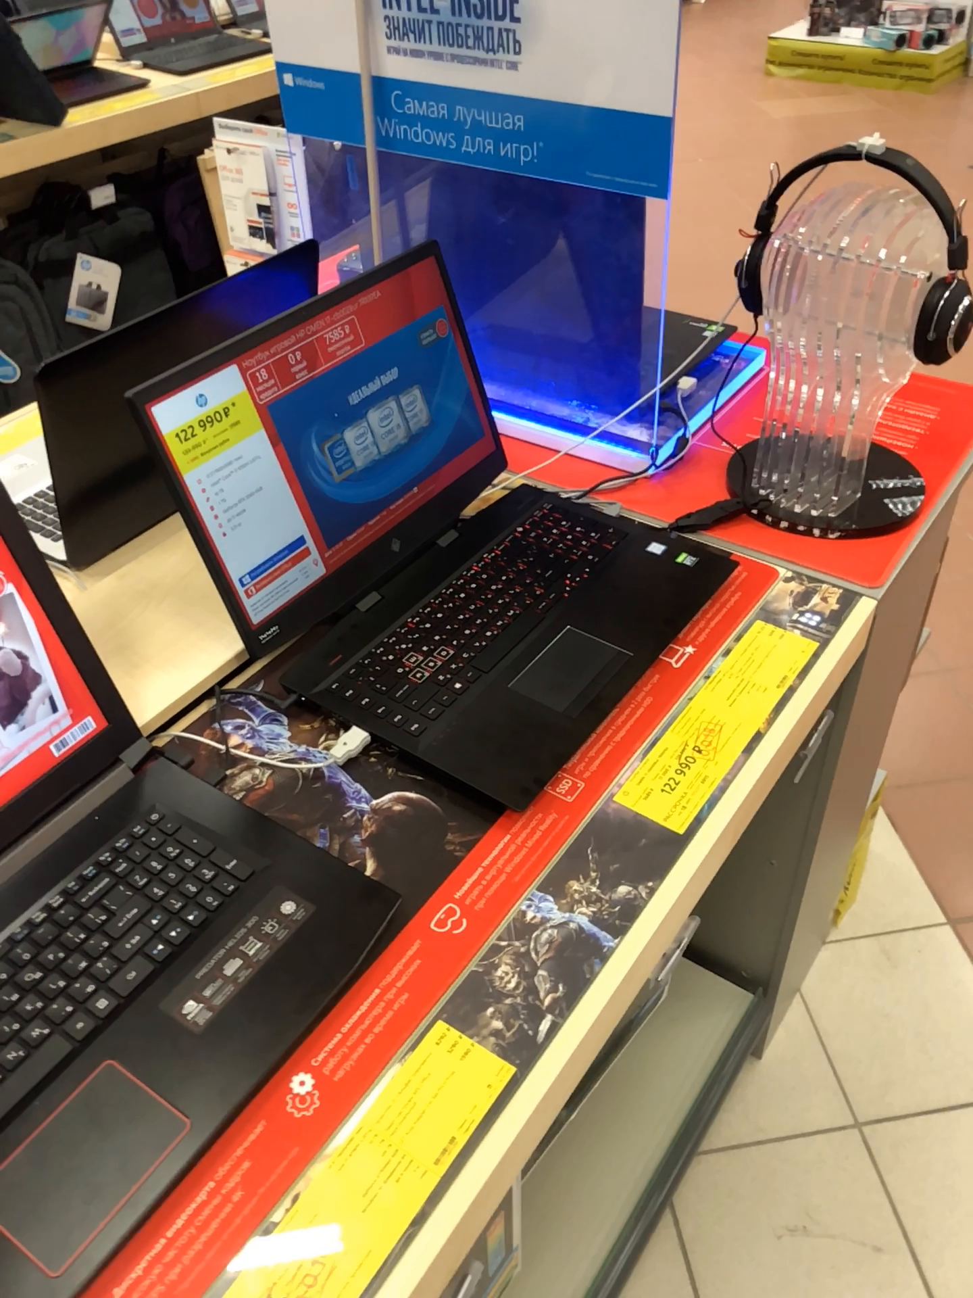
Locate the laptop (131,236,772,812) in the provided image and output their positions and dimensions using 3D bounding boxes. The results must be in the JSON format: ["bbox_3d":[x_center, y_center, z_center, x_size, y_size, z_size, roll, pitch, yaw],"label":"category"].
[{"bbox_3d":[-0.014,-0.147,0.965,0.376,0.246,0.393,25,48,26],"label":"laptop"}]
